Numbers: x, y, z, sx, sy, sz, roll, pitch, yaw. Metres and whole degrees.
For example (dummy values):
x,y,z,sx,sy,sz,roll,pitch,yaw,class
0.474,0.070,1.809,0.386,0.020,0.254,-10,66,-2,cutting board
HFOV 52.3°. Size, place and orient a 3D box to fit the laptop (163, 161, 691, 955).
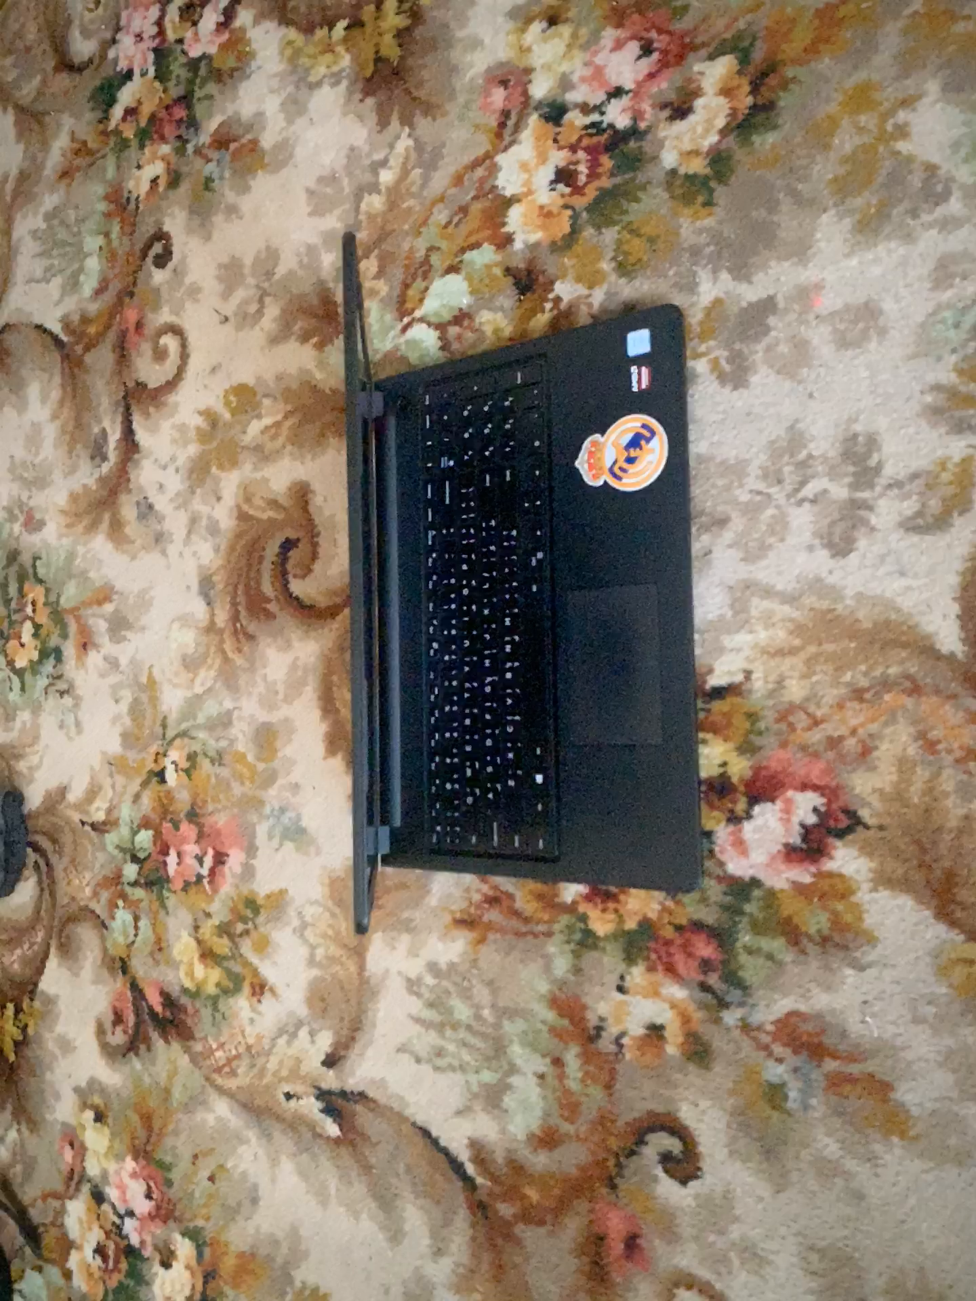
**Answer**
x,y,z,sx,sy,sz,roll,pitch,yaw,class
-0.036,-0.035,0.605,0.252,0.193,0.367,-5,84,34,laptop
